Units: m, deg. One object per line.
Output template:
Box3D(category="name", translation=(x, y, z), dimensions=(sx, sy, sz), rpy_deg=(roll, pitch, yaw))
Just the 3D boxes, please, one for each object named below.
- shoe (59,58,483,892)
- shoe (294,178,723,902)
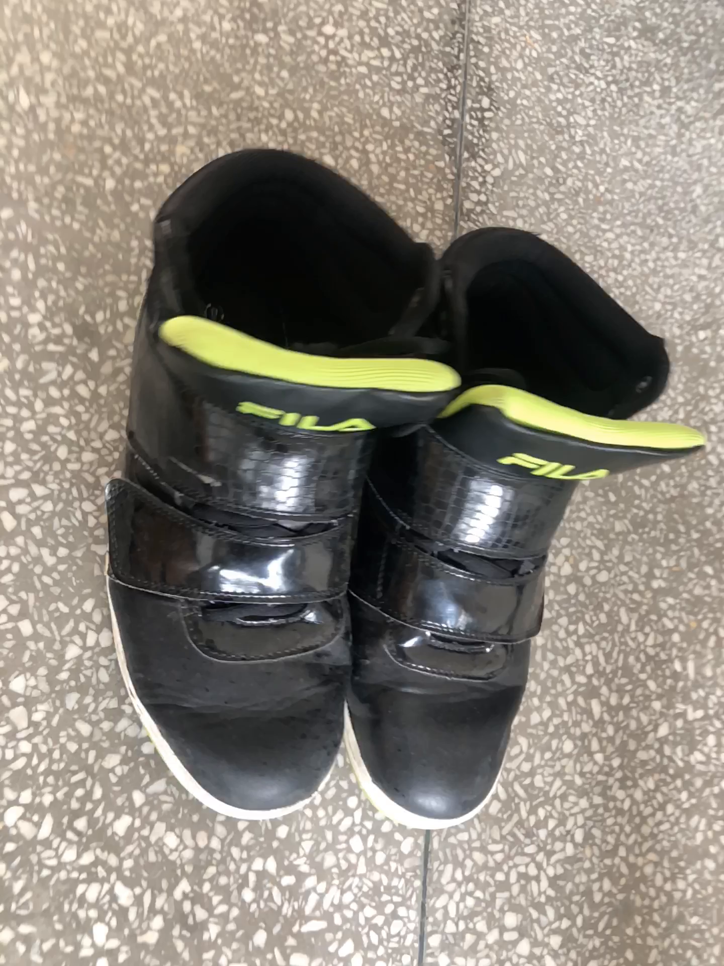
Box3D(category="shoe", translation=(-0.055, 0.002, 0.338), dimensions=(0.120, 0.147, 0.270), rpy_deg=(2, 73, -24))
Box3D(category="shoe", translation=(0.057, 0.031, 0.357), dimensions=(0.120, 0.147, 0.250), rpy_deg=(9, 70, -21))
